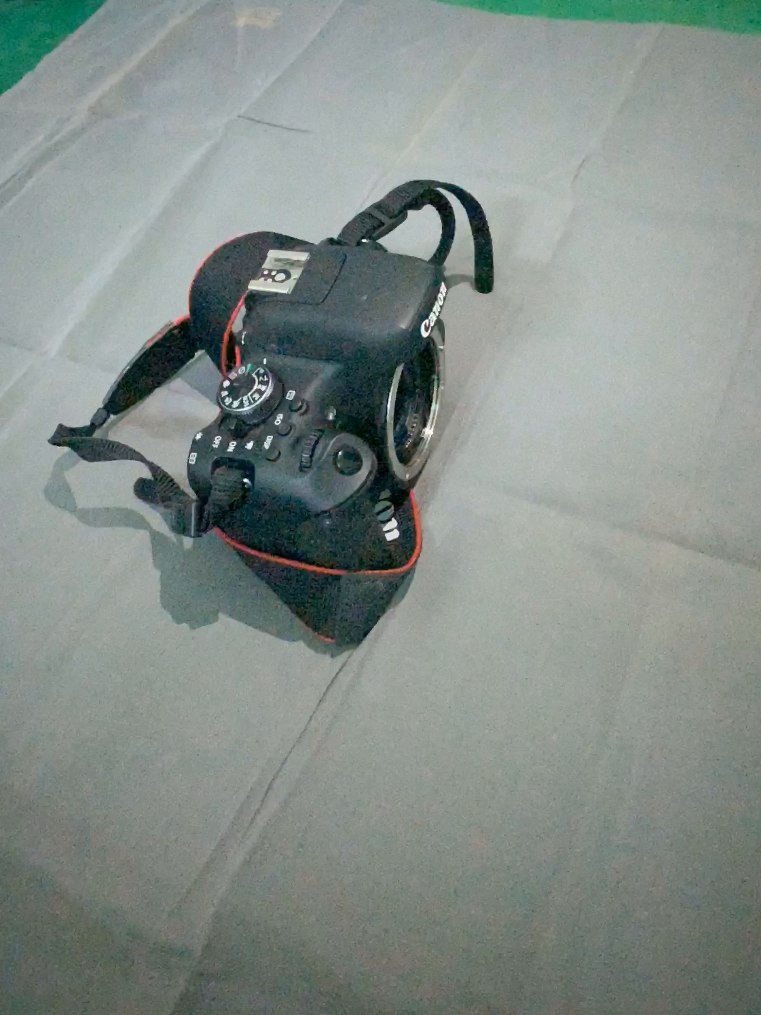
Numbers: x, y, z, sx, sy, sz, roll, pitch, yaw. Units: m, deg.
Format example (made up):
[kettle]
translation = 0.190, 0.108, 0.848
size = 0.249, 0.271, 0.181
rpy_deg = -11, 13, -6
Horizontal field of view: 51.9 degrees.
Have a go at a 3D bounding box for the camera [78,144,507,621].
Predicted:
[camera]
translation = -0.018, -0.048, 0.285
size = 0.090, 0.088, 0.133
rpy_deg = 15, 60, 17
